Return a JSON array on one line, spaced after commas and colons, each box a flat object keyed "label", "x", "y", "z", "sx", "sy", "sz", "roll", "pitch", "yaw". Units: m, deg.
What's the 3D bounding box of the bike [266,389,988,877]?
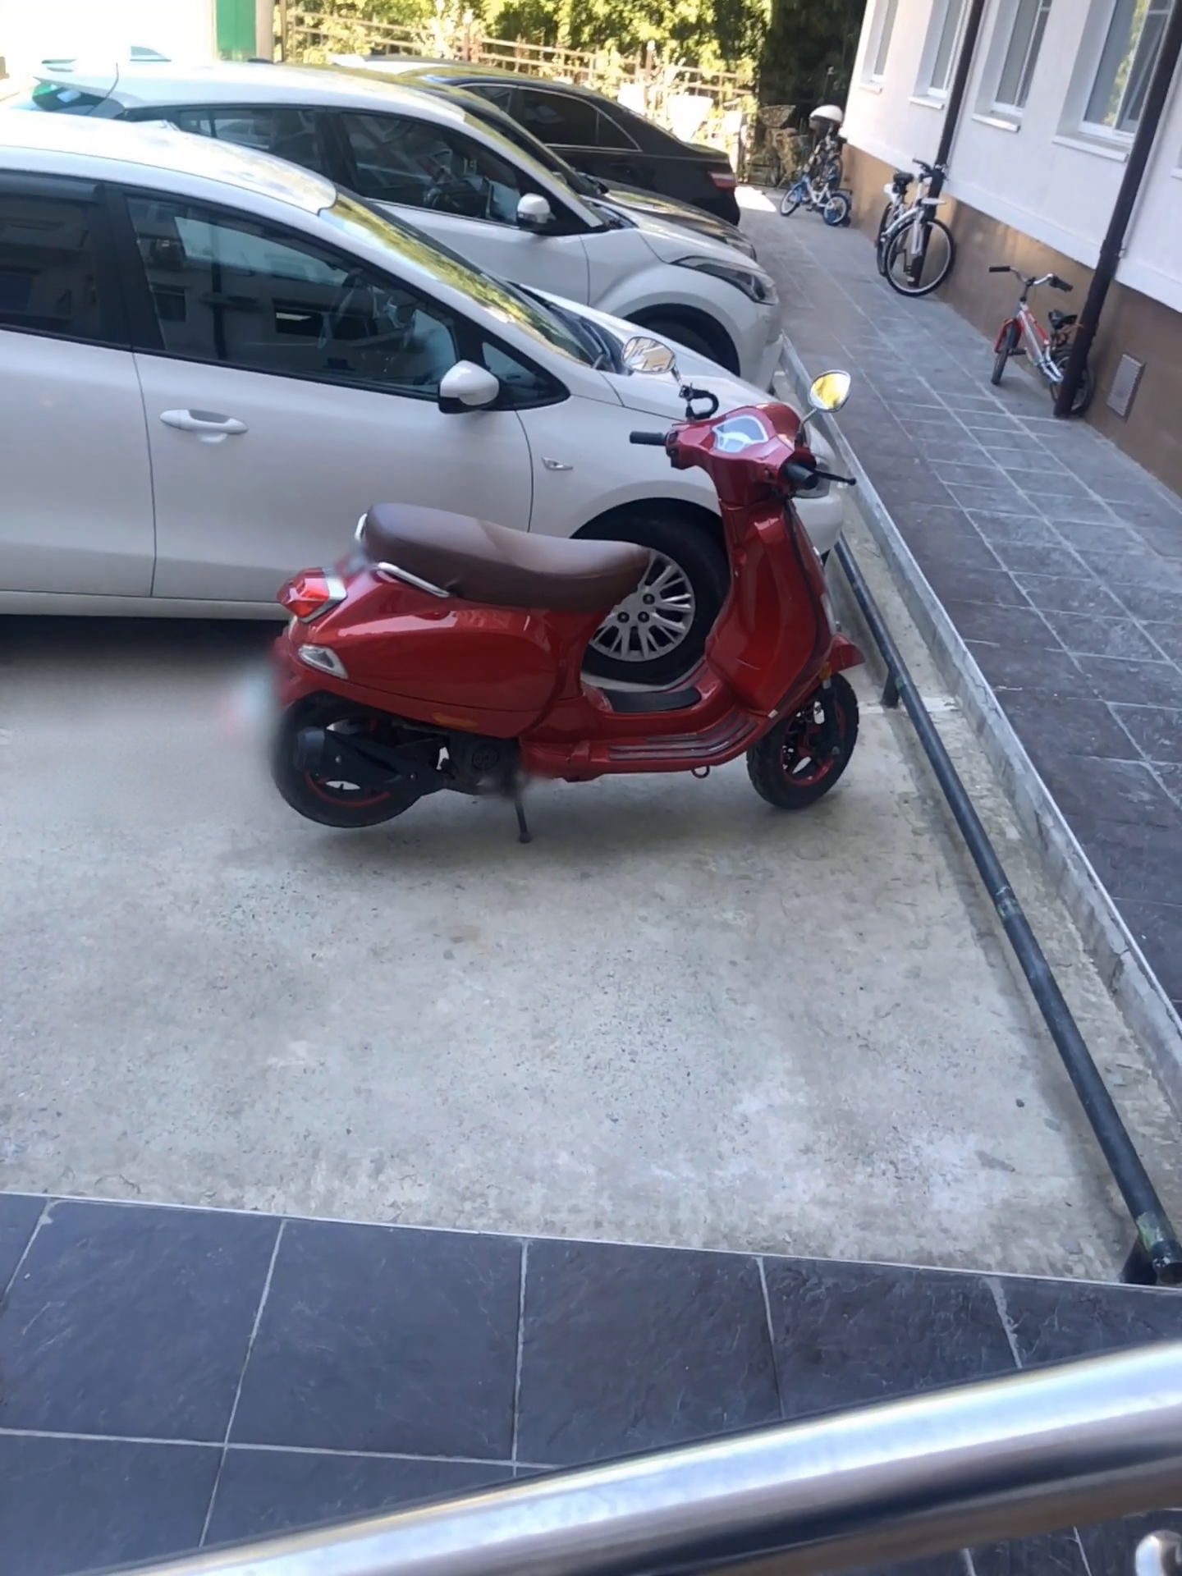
[{"label": "bike", "x": 0.039, "y": -0.421, "z": 3.184, "sx": 1.595, "sy": 0.950, "sz": 0.536, "roll": -5, "pitch": 32, "yaw": -20}]
